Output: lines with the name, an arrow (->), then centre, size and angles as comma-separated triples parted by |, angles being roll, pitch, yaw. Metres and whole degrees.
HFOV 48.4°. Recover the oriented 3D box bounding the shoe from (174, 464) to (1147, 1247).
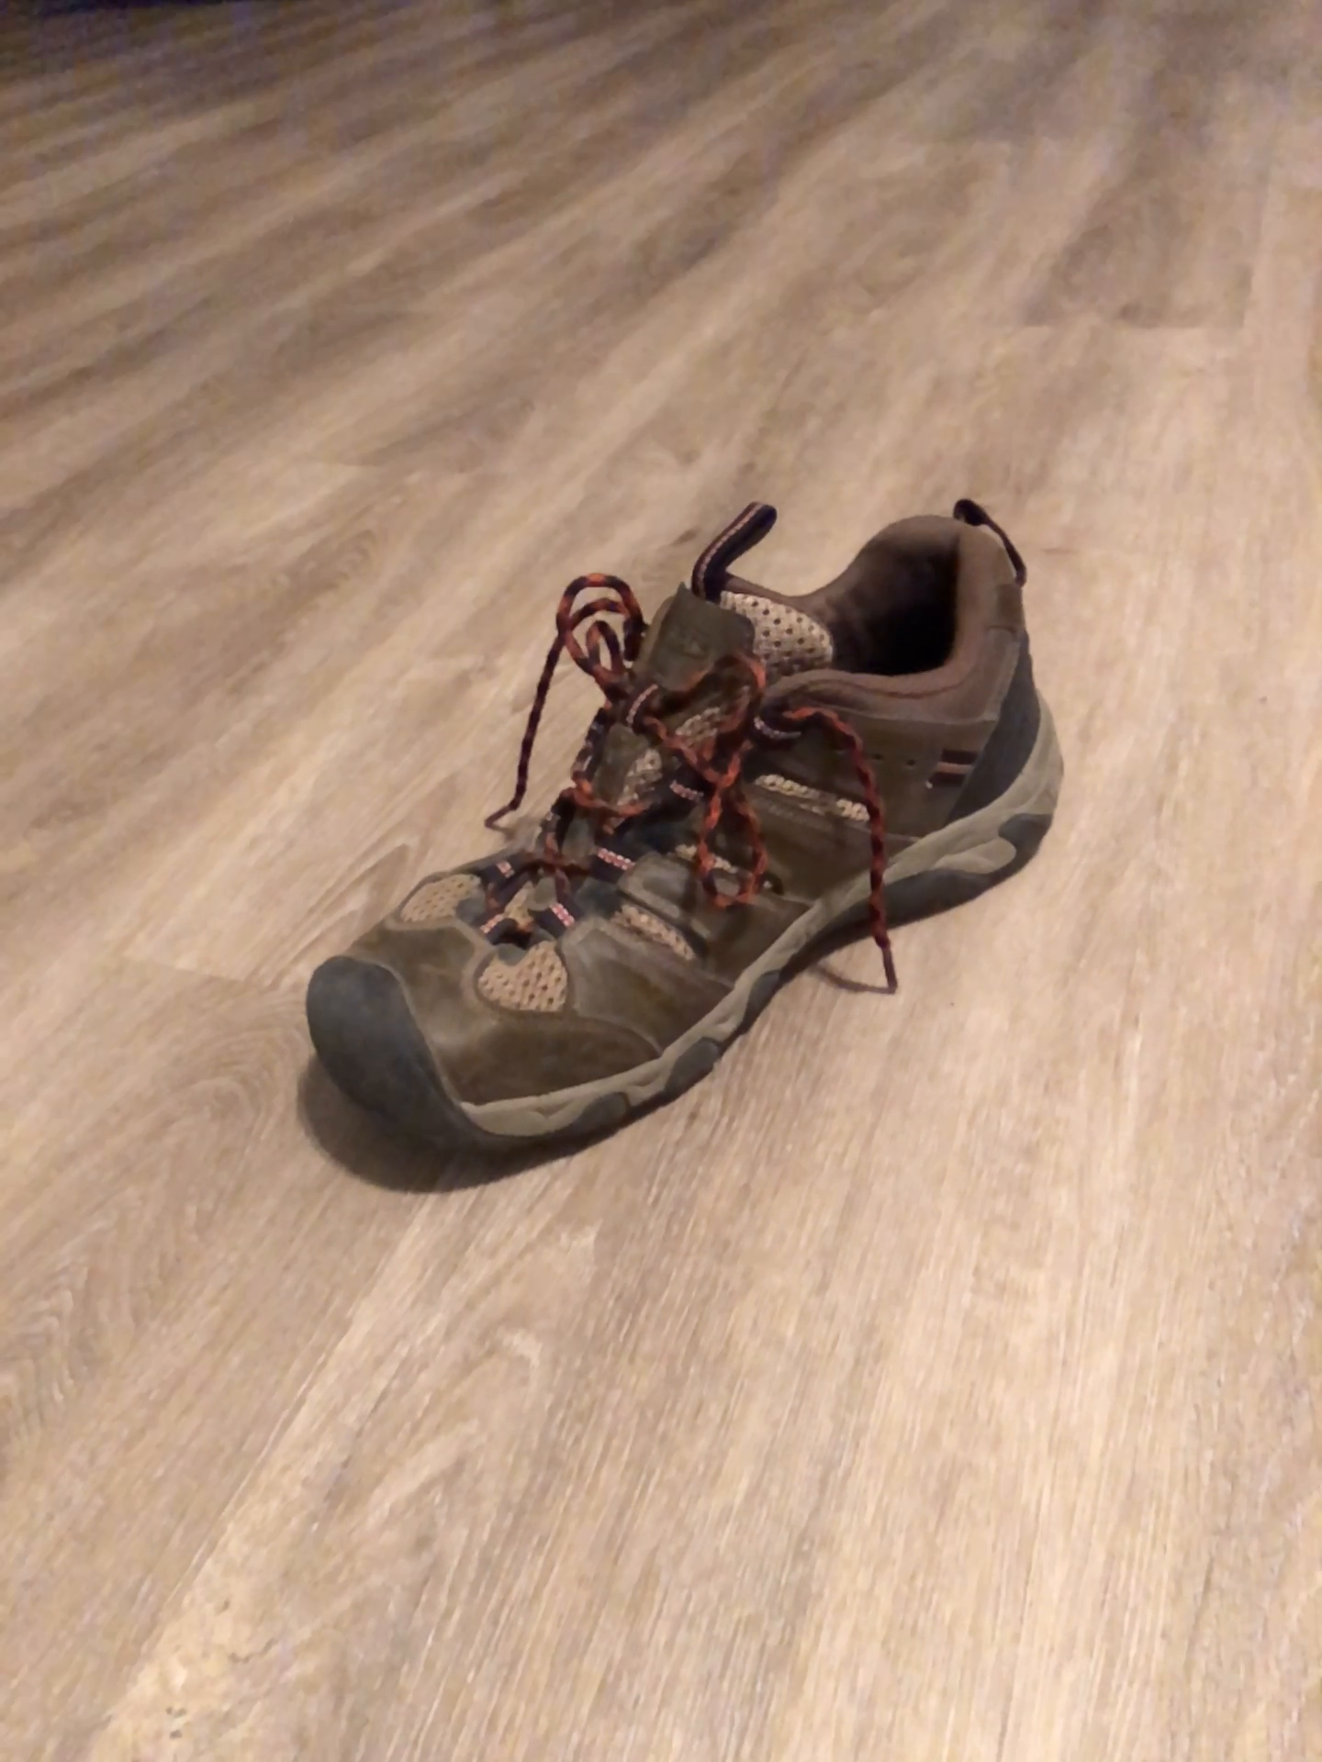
shoe -> 0.012, -0.026, 0.452 | 0.270, 0.099, 0.110 | -29, 42, -27
